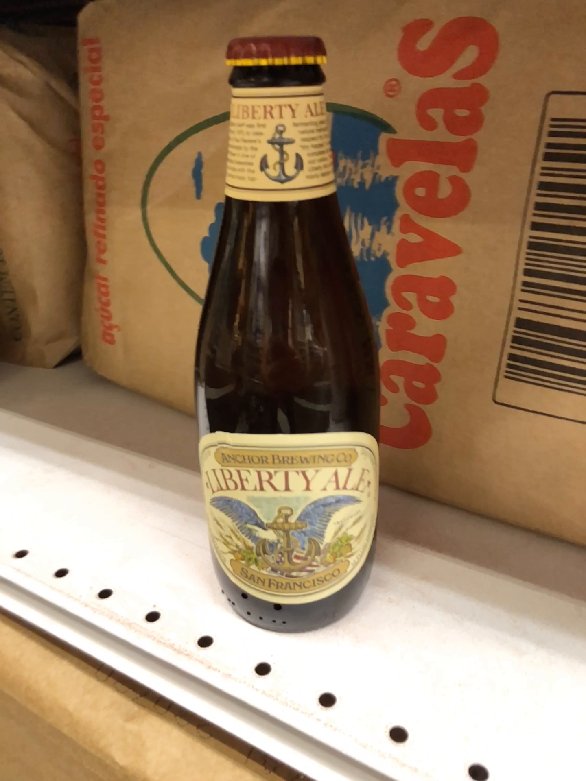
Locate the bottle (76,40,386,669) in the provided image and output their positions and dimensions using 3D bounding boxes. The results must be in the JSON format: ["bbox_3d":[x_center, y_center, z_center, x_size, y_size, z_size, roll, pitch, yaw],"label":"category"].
[{"bbox_3d":[-0.010,-0.007,0.216,0.070,0.189,0.071,-1,25,0],"label":"bottle"}]
